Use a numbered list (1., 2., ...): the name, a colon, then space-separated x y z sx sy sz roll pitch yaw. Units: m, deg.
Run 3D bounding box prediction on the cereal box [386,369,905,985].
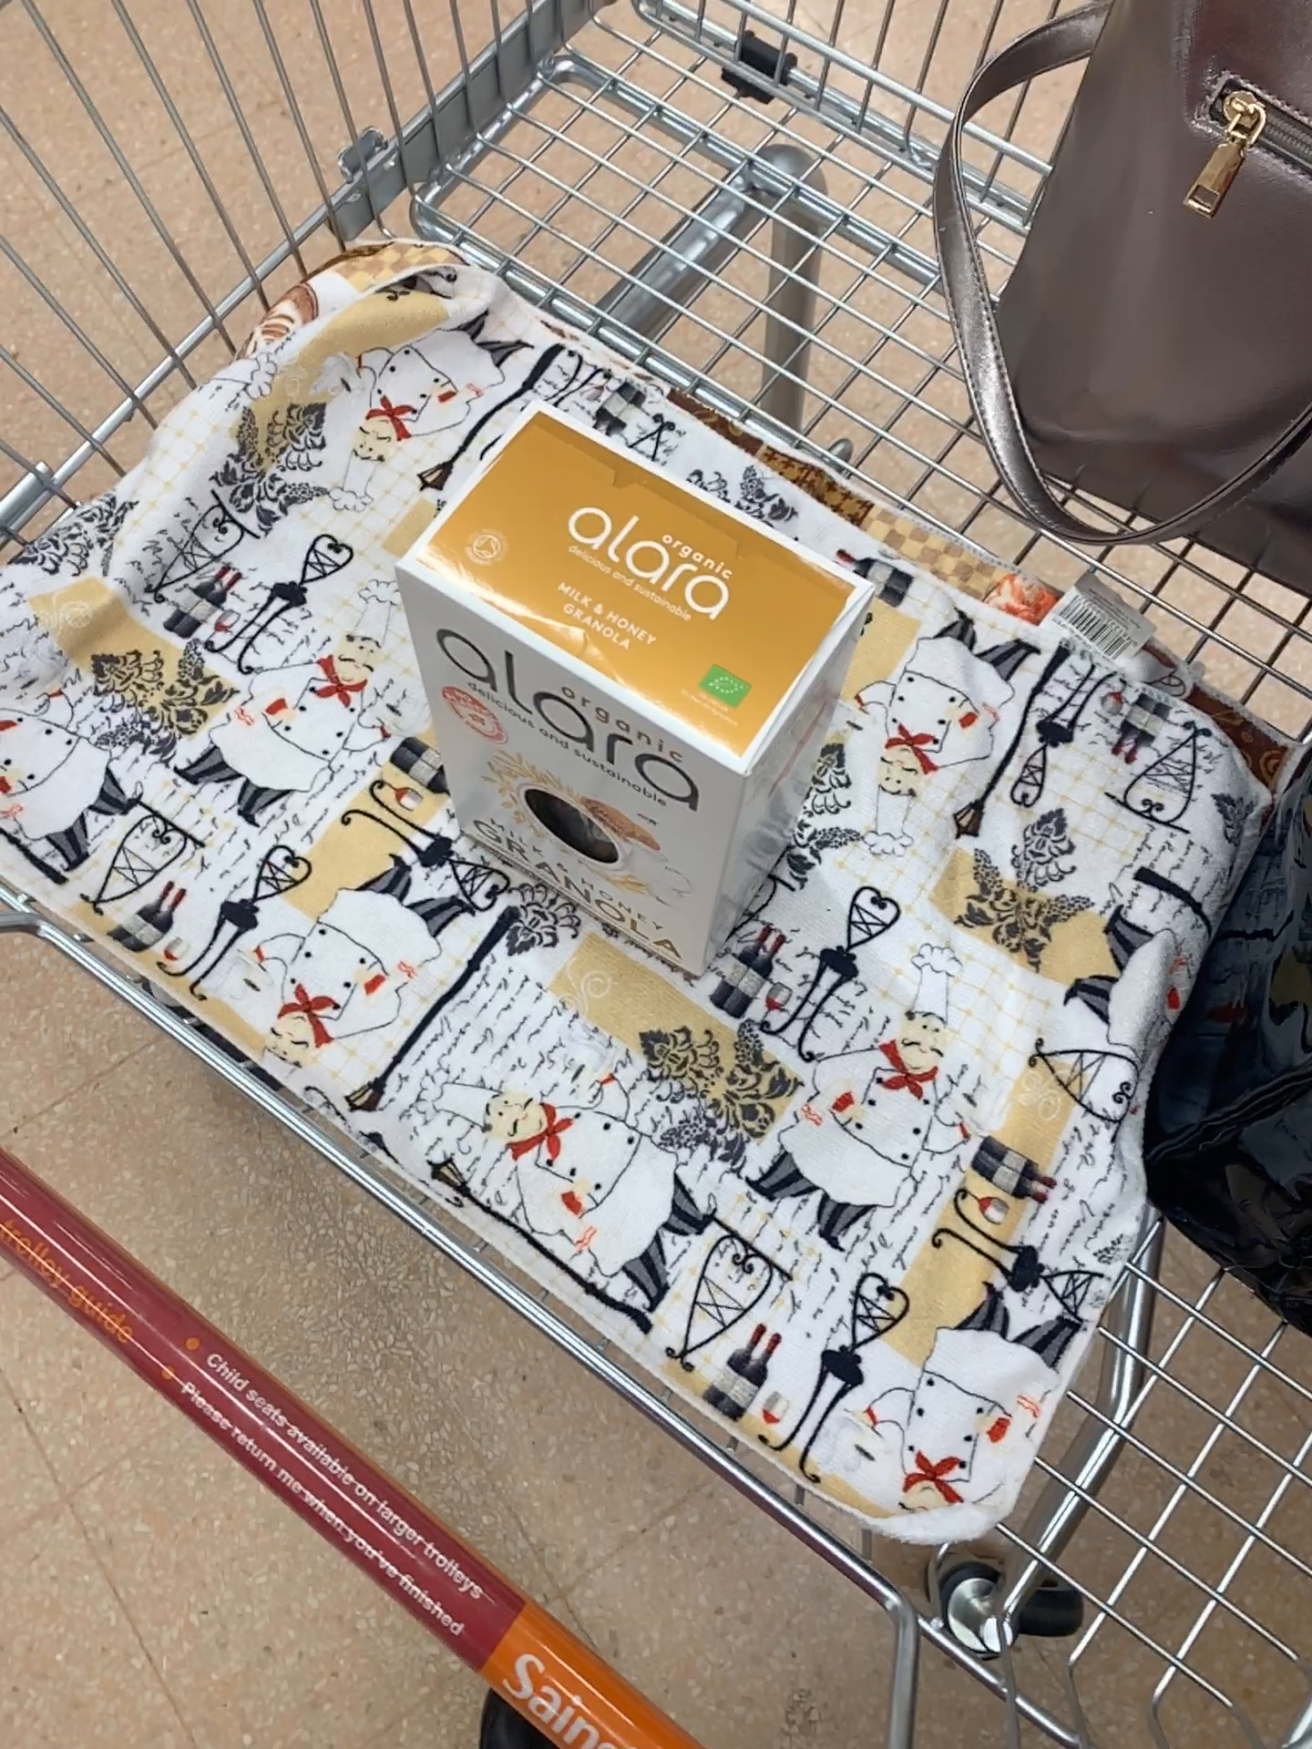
1. cereal box: -0.006 -0.052 0.466 0.120 0.199 0.080 31 71 9
